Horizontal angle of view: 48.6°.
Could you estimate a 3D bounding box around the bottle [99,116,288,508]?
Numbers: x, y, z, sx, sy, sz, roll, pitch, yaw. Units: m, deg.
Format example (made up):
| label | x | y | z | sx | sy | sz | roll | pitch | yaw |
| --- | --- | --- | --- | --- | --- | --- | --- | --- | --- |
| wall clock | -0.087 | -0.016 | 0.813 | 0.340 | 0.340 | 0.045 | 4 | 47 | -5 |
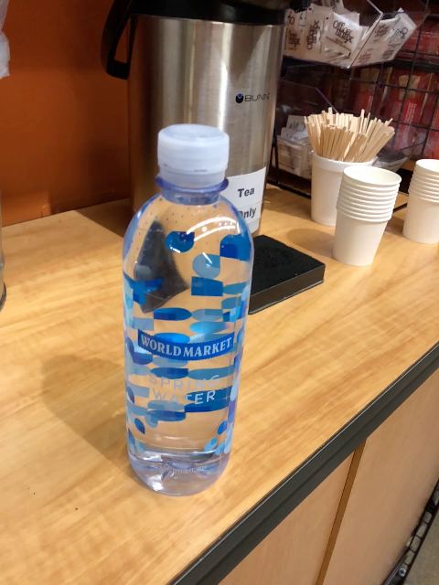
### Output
| label | x | y | z | sx | sy | sz | roll | pitch | yaw |
| --- | --- | --- | --- | --- | --- | --- | --- | --- | --- |
| bottle | -0.019 | 0.019 | 0.260 | 0.070 | 0.199 | 0.070 | 3 | 30 | -2 |
